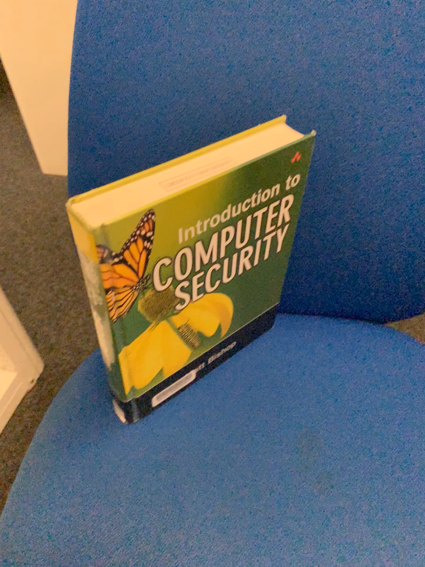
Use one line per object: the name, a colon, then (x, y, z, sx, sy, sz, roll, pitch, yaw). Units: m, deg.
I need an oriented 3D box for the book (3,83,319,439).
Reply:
book: (-0.023, 0.001, 0.387, 0.211, 0.278, 0.050, -31, 56, -24)
